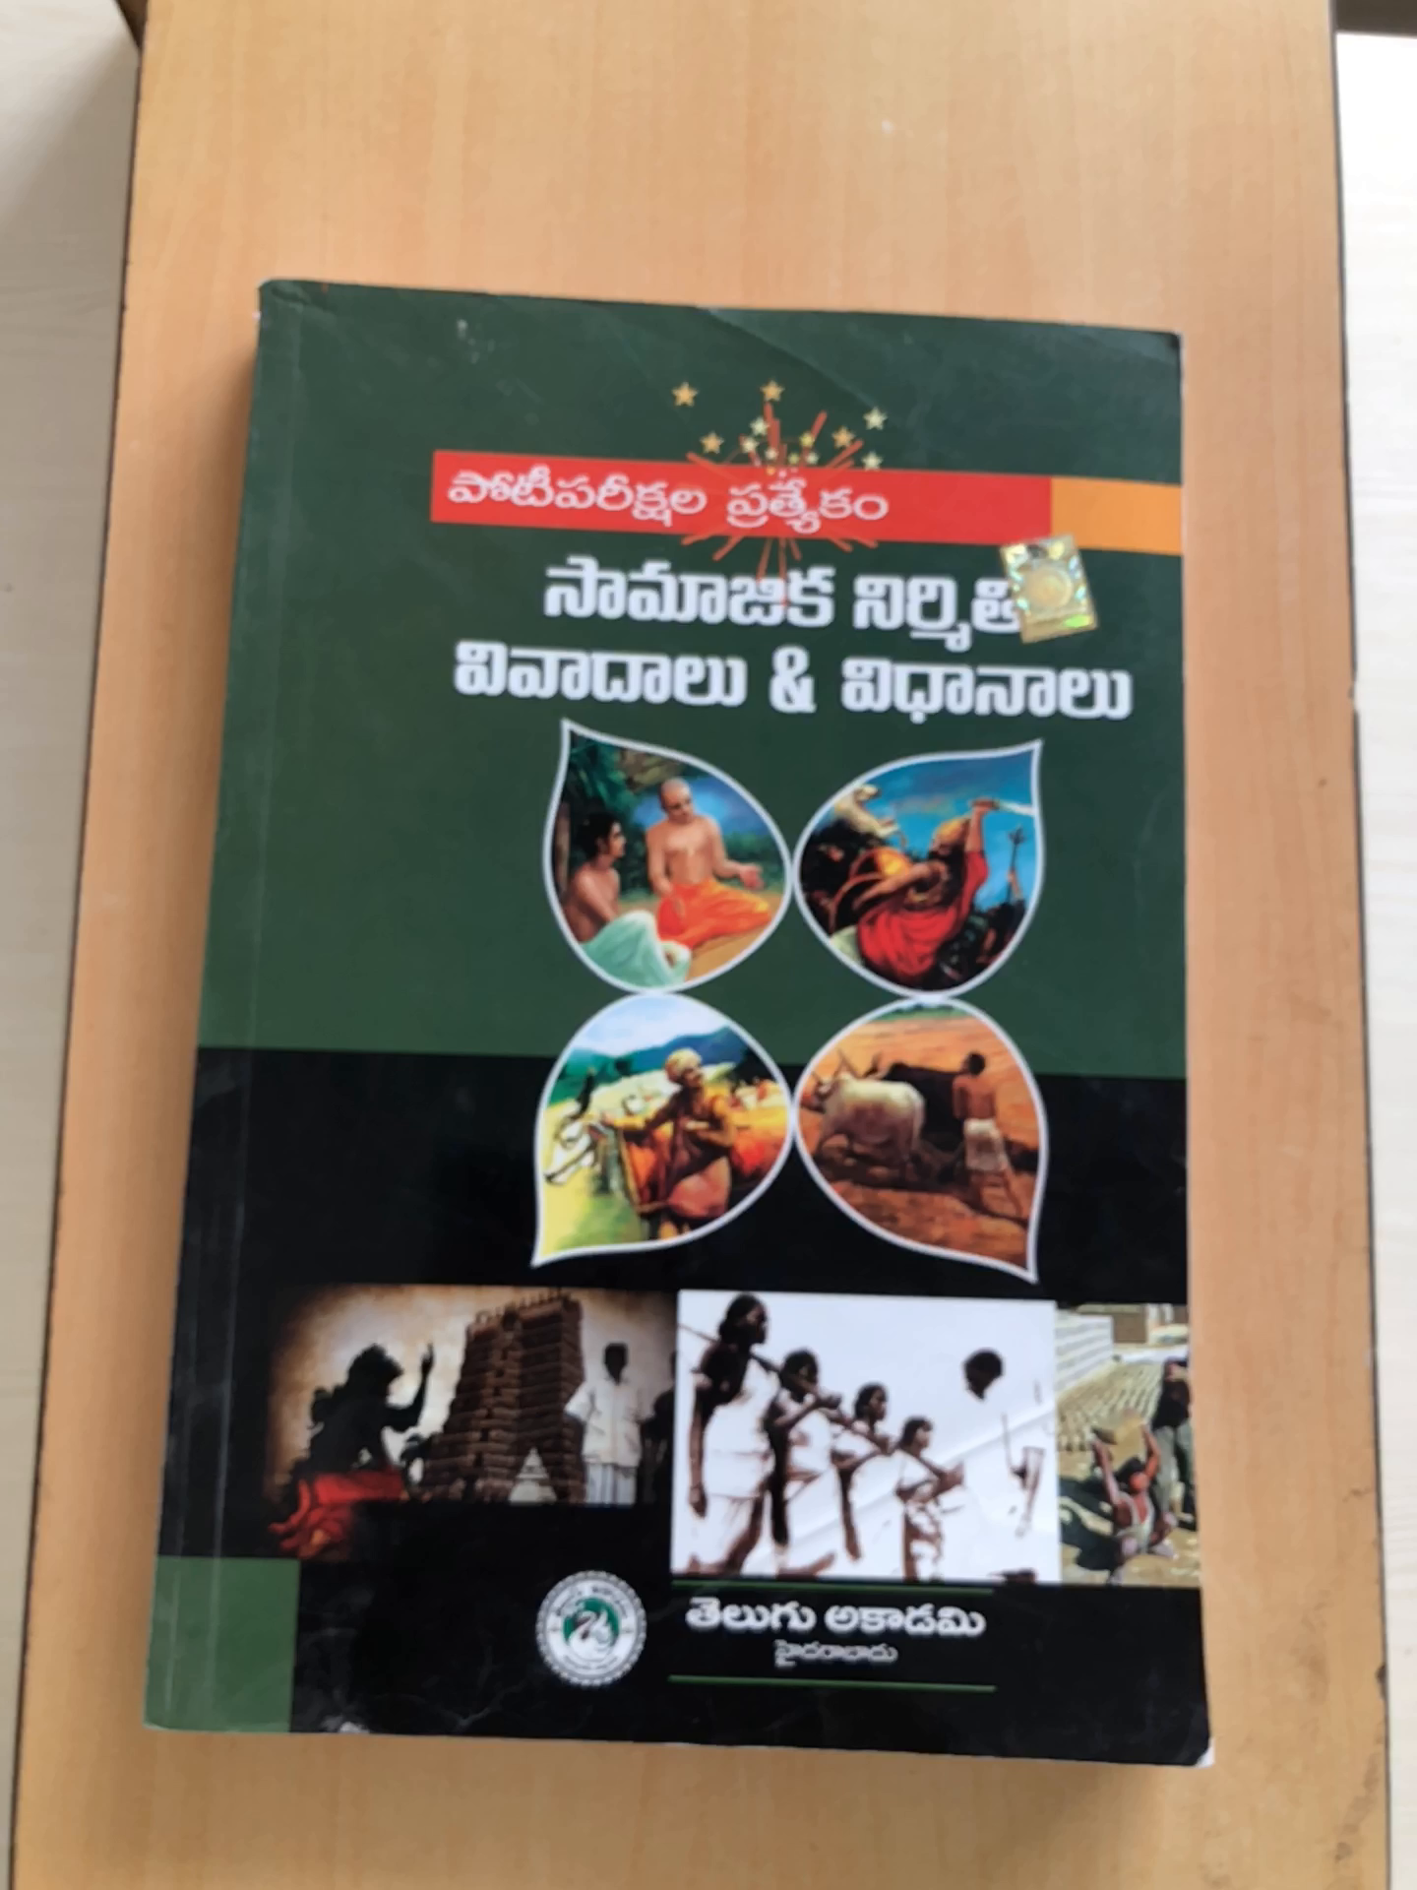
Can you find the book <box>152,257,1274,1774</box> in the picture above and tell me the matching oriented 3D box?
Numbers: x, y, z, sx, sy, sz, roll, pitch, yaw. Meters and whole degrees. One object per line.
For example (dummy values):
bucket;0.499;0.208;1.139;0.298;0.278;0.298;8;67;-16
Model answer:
book;0.004;0.009;0.313;0.190;0.050;0.270;2;82;-3
